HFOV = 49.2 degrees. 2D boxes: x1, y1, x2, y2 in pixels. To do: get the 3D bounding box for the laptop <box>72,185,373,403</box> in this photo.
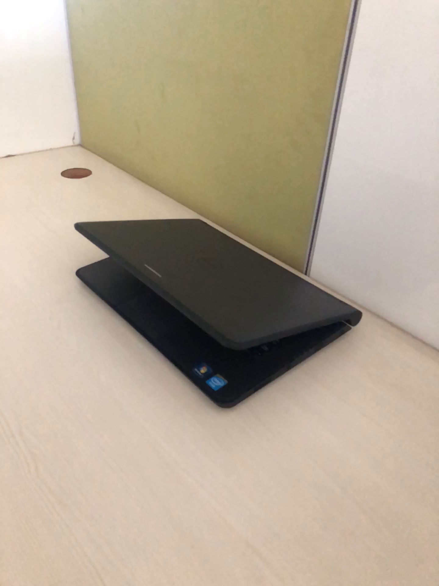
[{"bbox_3d":[-0.009,-0.031,0.629,0.229,0.072,0.323,-24,43,-34],"label":"laptop"}]
